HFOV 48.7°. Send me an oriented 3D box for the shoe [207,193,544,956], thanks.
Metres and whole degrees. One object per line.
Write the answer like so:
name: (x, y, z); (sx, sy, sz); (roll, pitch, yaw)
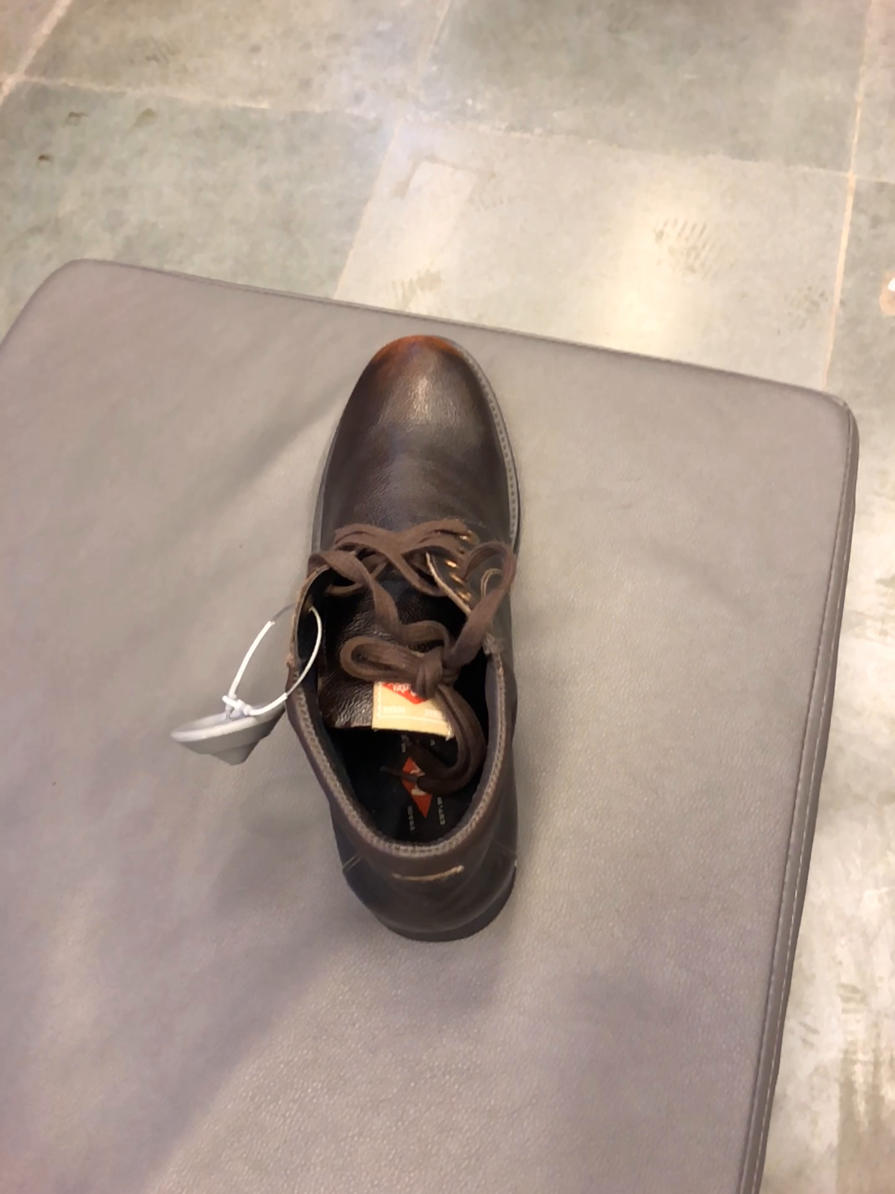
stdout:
shoe: (-0.020, -0.001, 0.455); (0.108, 0.178, 0.299); (-3, 66, 4)
